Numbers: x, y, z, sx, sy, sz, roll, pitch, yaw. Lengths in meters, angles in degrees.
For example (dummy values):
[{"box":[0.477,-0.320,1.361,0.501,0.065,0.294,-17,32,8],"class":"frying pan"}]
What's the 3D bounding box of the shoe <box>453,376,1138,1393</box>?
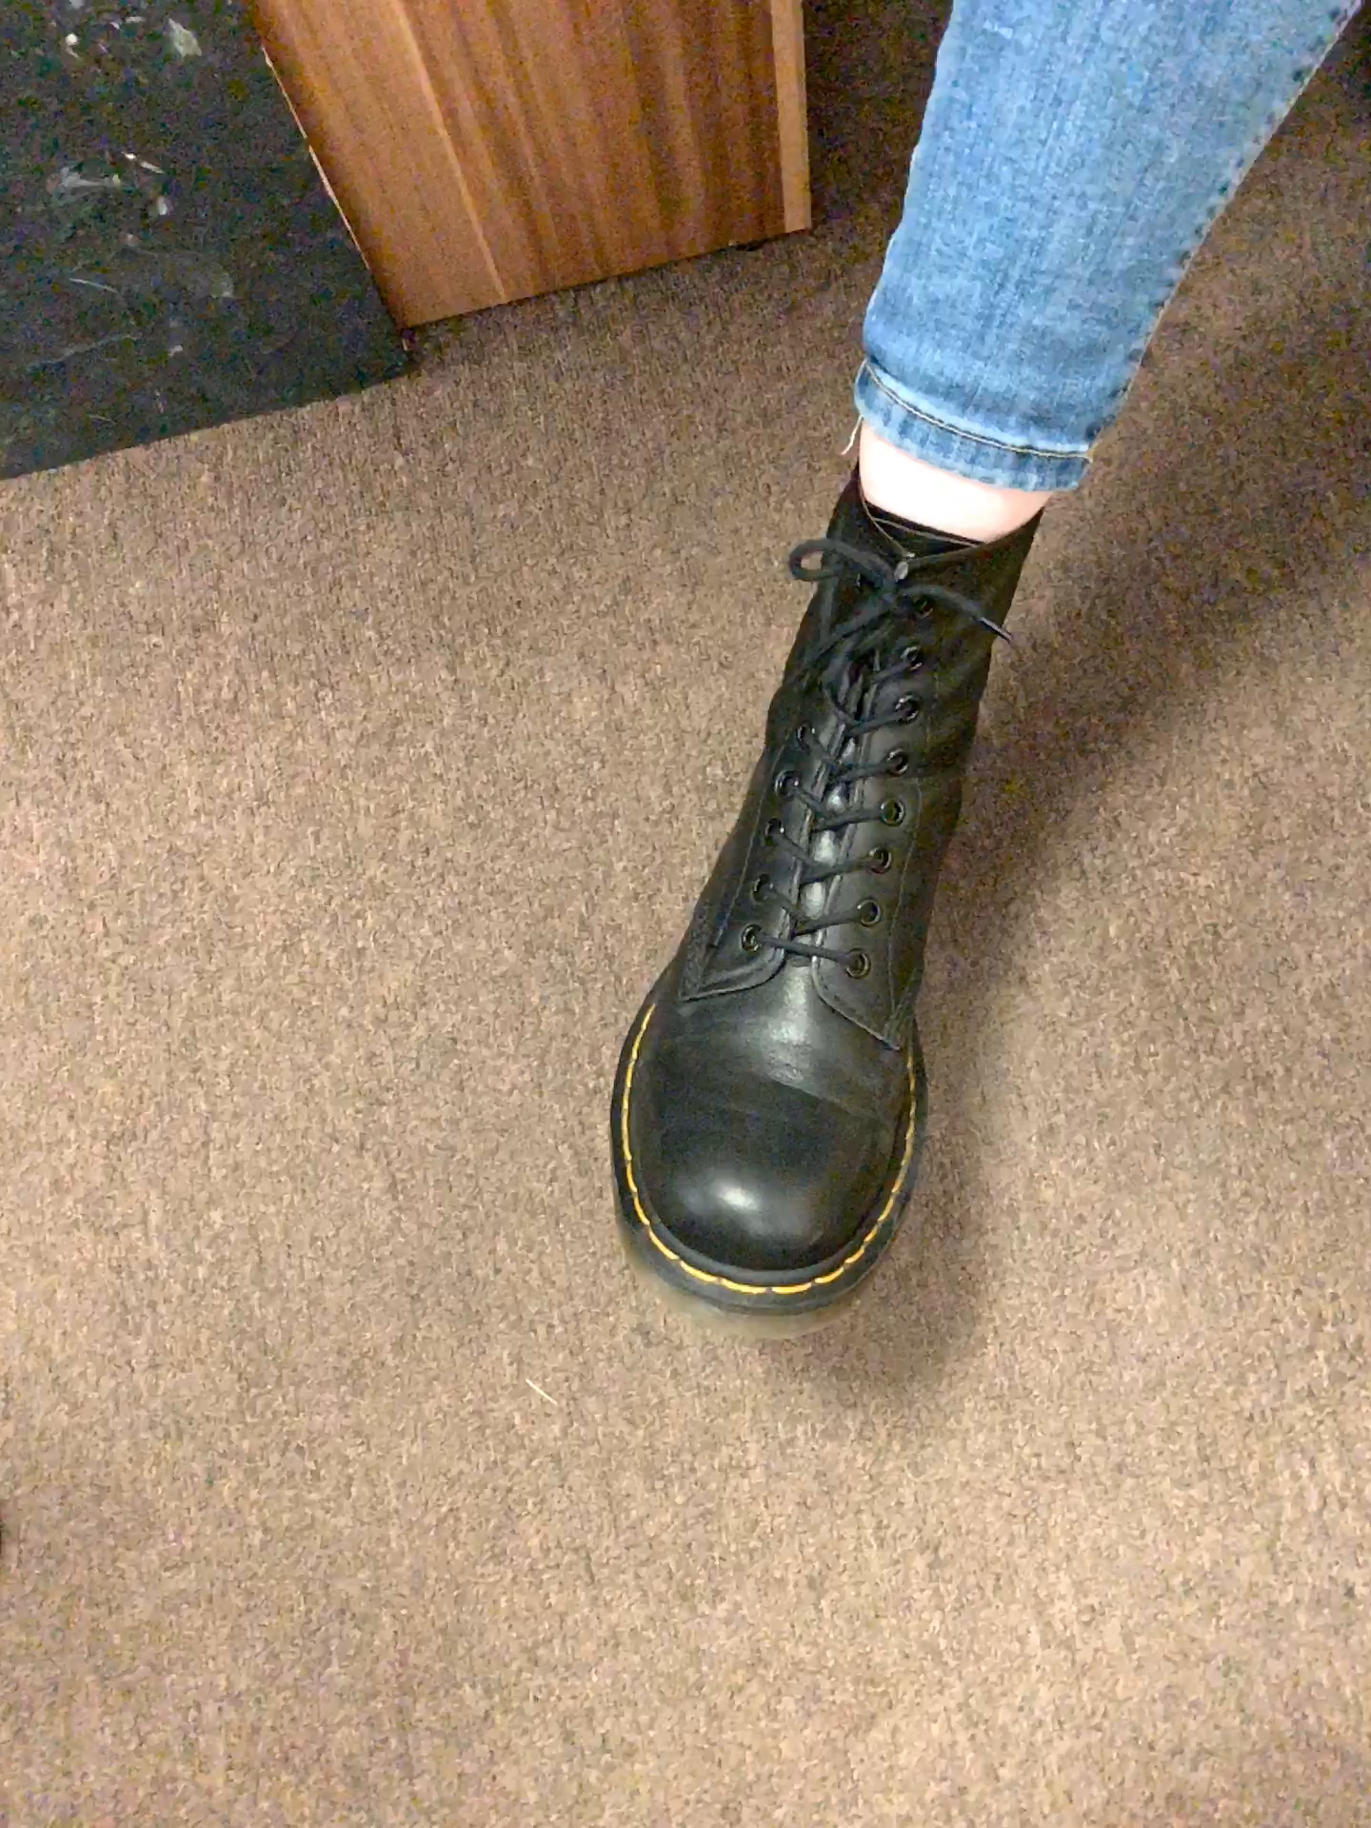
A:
[{"box":[0.047,-0.027,0.458,0.120,0.150,0.290,17,50,11],"class":"shoe"}]
